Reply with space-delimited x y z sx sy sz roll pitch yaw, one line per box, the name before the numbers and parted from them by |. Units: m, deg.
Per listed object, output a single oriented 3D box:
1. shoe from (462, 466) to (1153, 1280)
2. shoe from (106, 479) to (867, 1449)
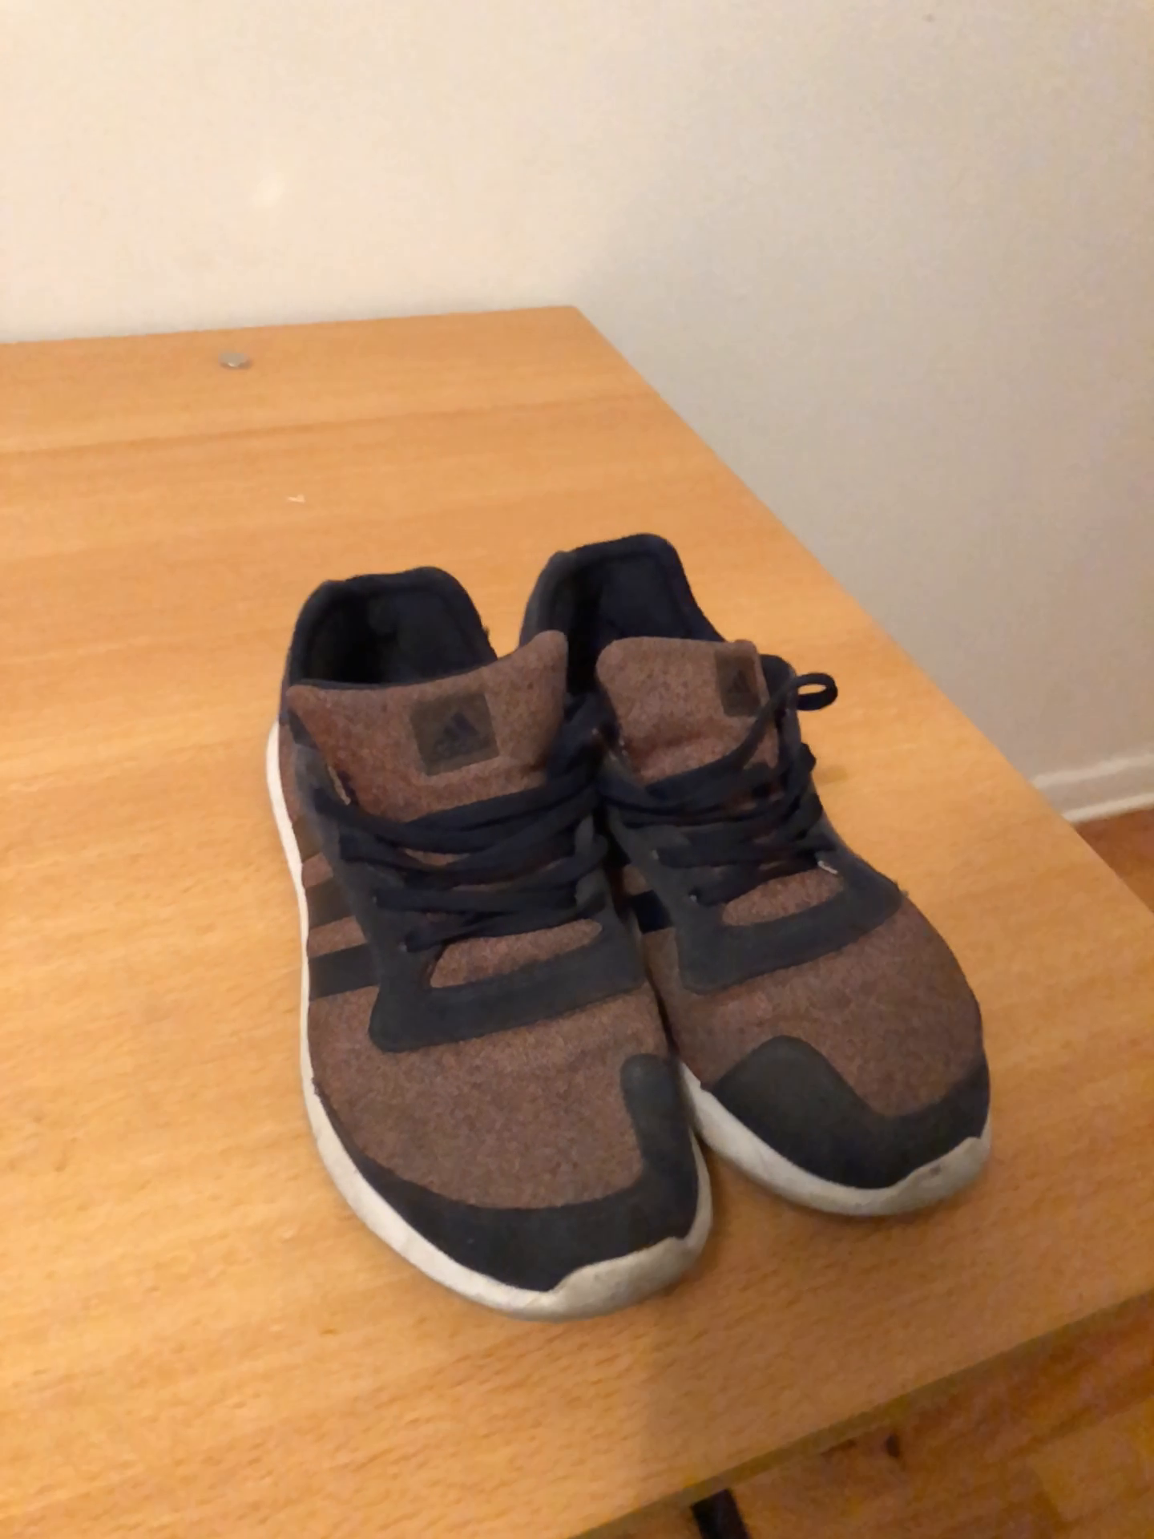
shoe | 0.068 0.009 0.431 0.130 0.099 0.262 -12 43 -21
shoe | -0.054 0.027 0.405 0.130 0.099 0.292 -12 43 -21
